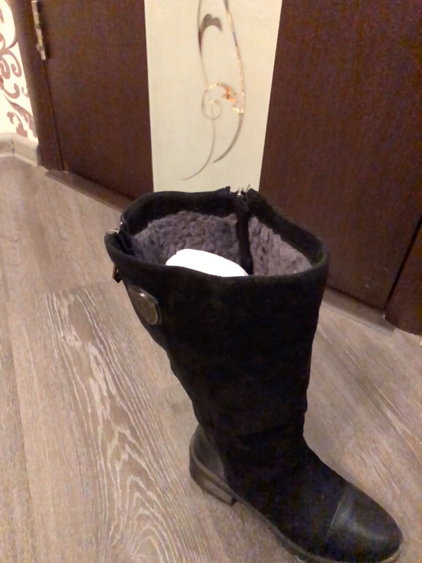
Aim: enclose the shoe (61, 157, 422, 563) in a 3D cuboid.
[{"bbox_3d":[0.059,0.121,0.390,0.290,0.358,0.121,21,44,19],"label":"shoe"}]
